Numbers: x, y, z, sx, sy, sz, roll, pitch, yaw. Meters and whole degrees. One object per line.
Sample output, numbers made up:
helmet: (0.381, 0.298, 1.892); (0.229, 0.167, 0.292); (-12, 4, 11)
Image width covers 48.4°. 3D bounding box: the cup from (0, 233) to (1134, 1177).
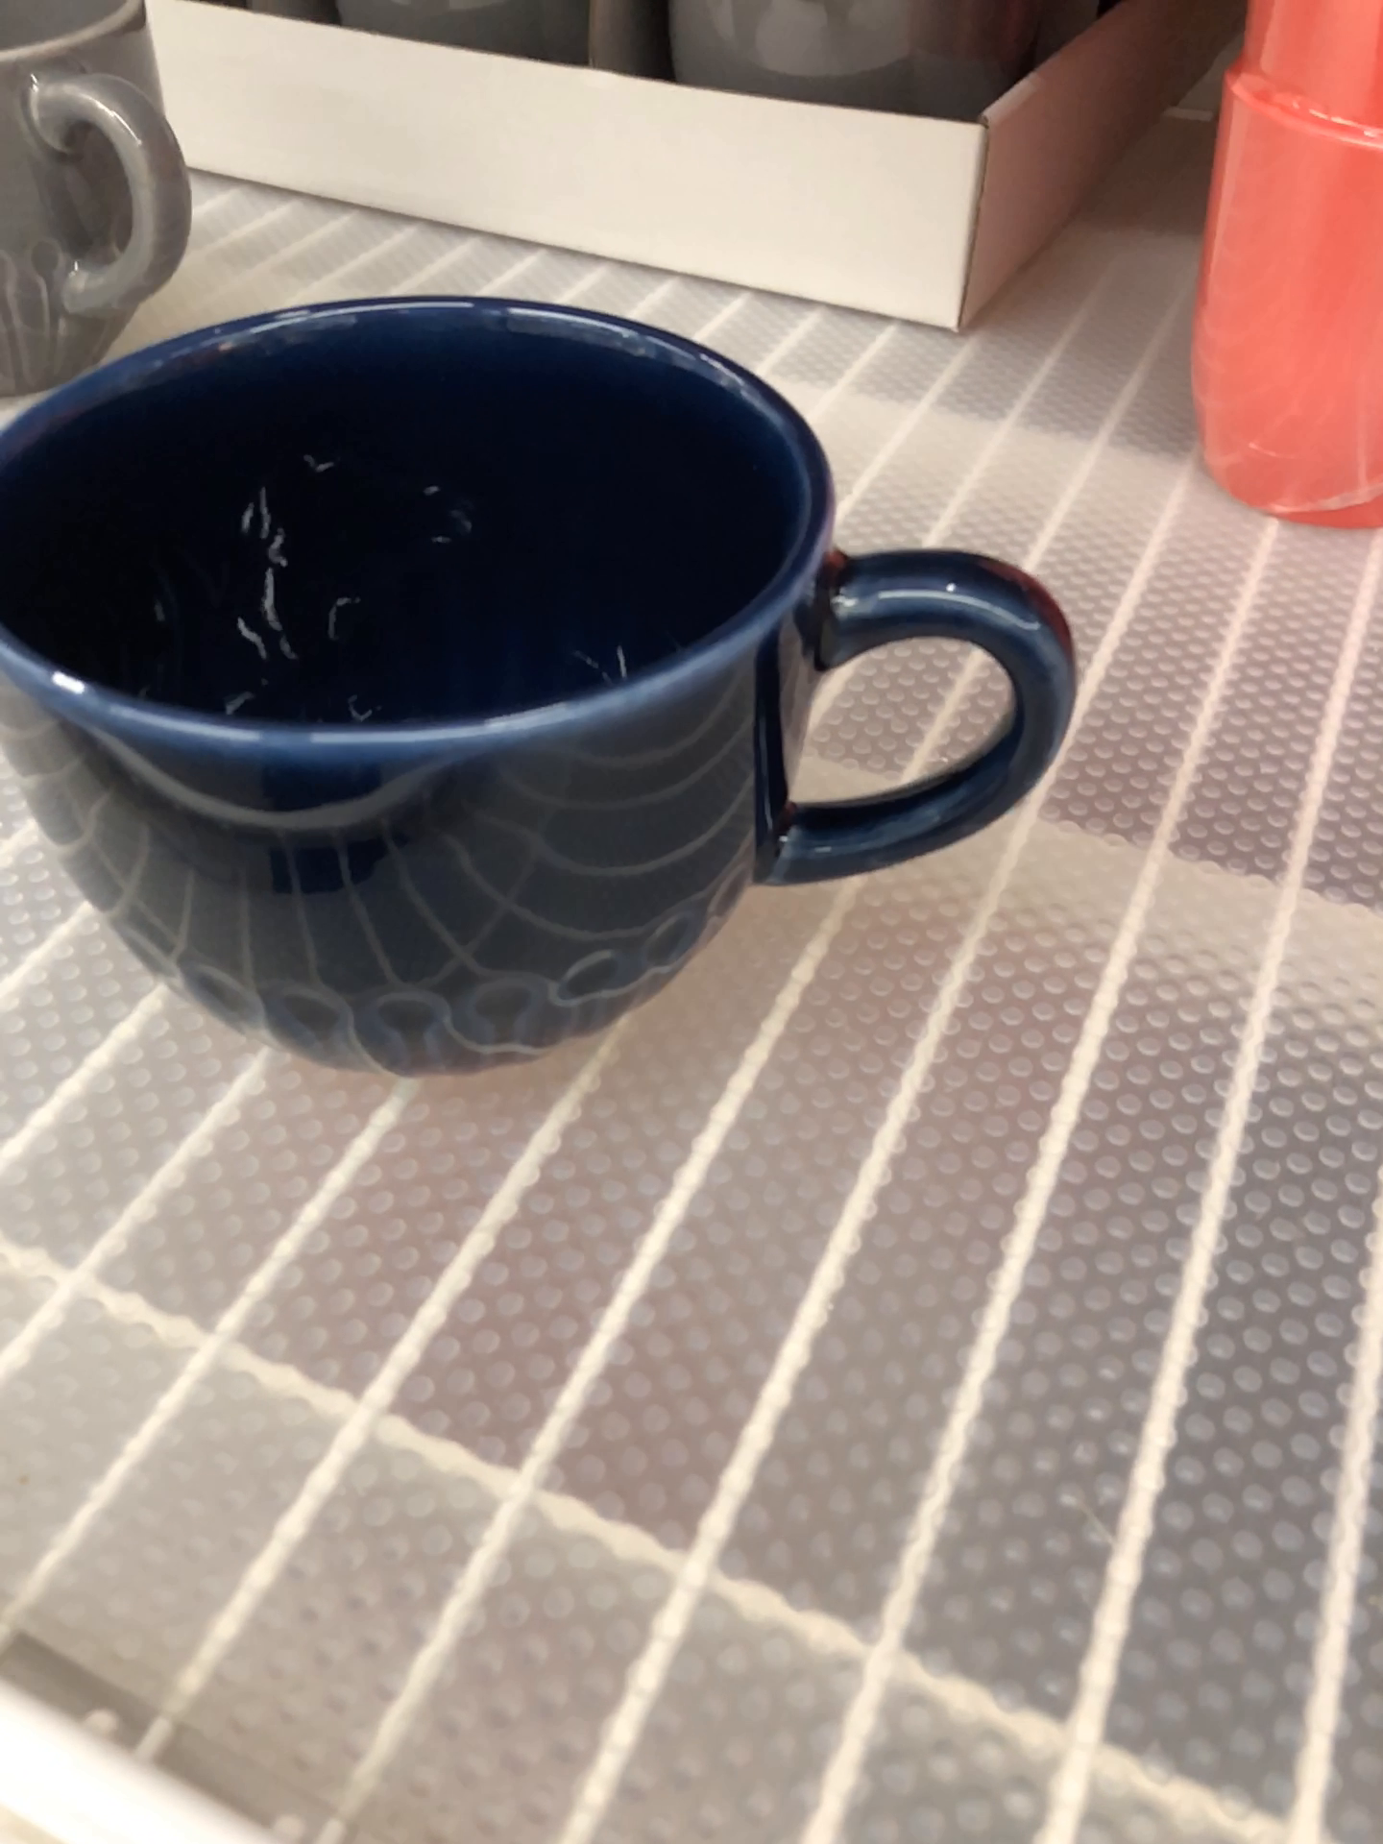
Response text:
cup: (-0.022, -0.035, 0.197); (0.130, 0.060, 0.110); (4, 43, 3)
